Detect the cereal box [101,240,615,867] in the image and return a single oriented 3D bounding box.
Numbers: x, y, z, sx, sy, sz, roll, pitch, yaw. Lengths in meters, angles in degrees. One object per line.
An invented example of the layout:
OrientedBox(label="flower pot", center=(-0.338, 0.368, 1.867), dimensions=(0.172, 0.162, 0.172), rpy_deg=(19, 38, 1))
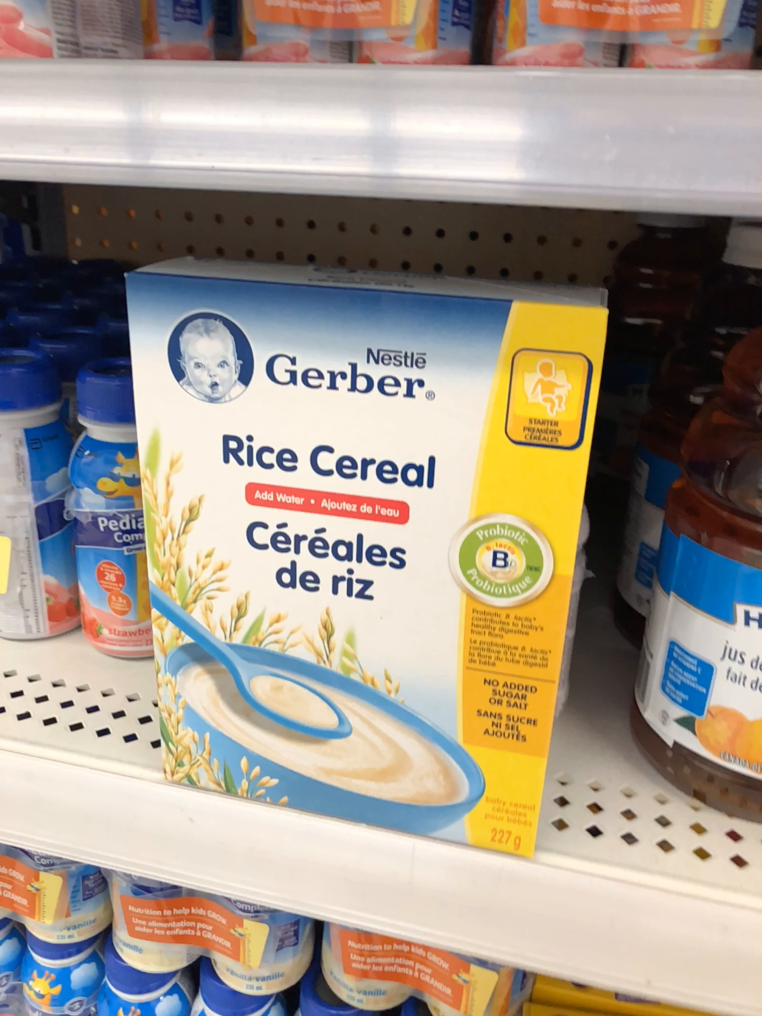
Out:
OrientedBox(label="cereal box", center=(-0.009, 0.015, 0.304), dimensions=(0.150, 0.199, 0.060), rpy_deg=(8, 23, 11))
